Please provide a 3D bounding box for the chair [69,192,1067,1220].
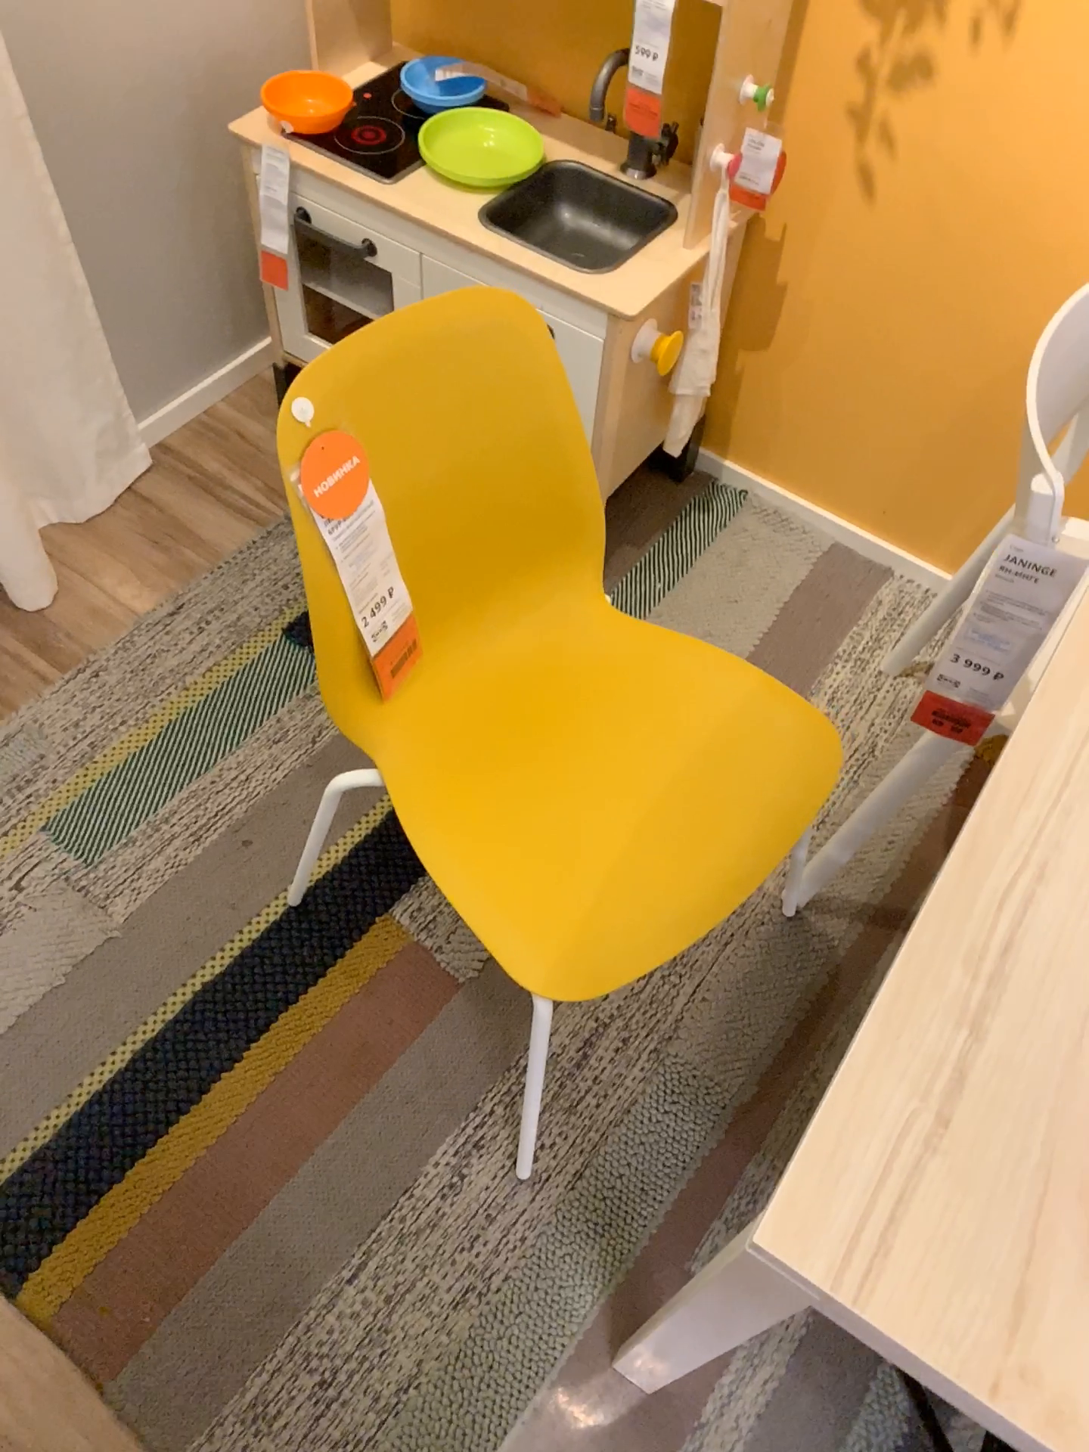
[{"bbox_3d":[0.007,0.028,1.203,0.555,0.810,0.558,38,61,20],"label":"chair"}]
